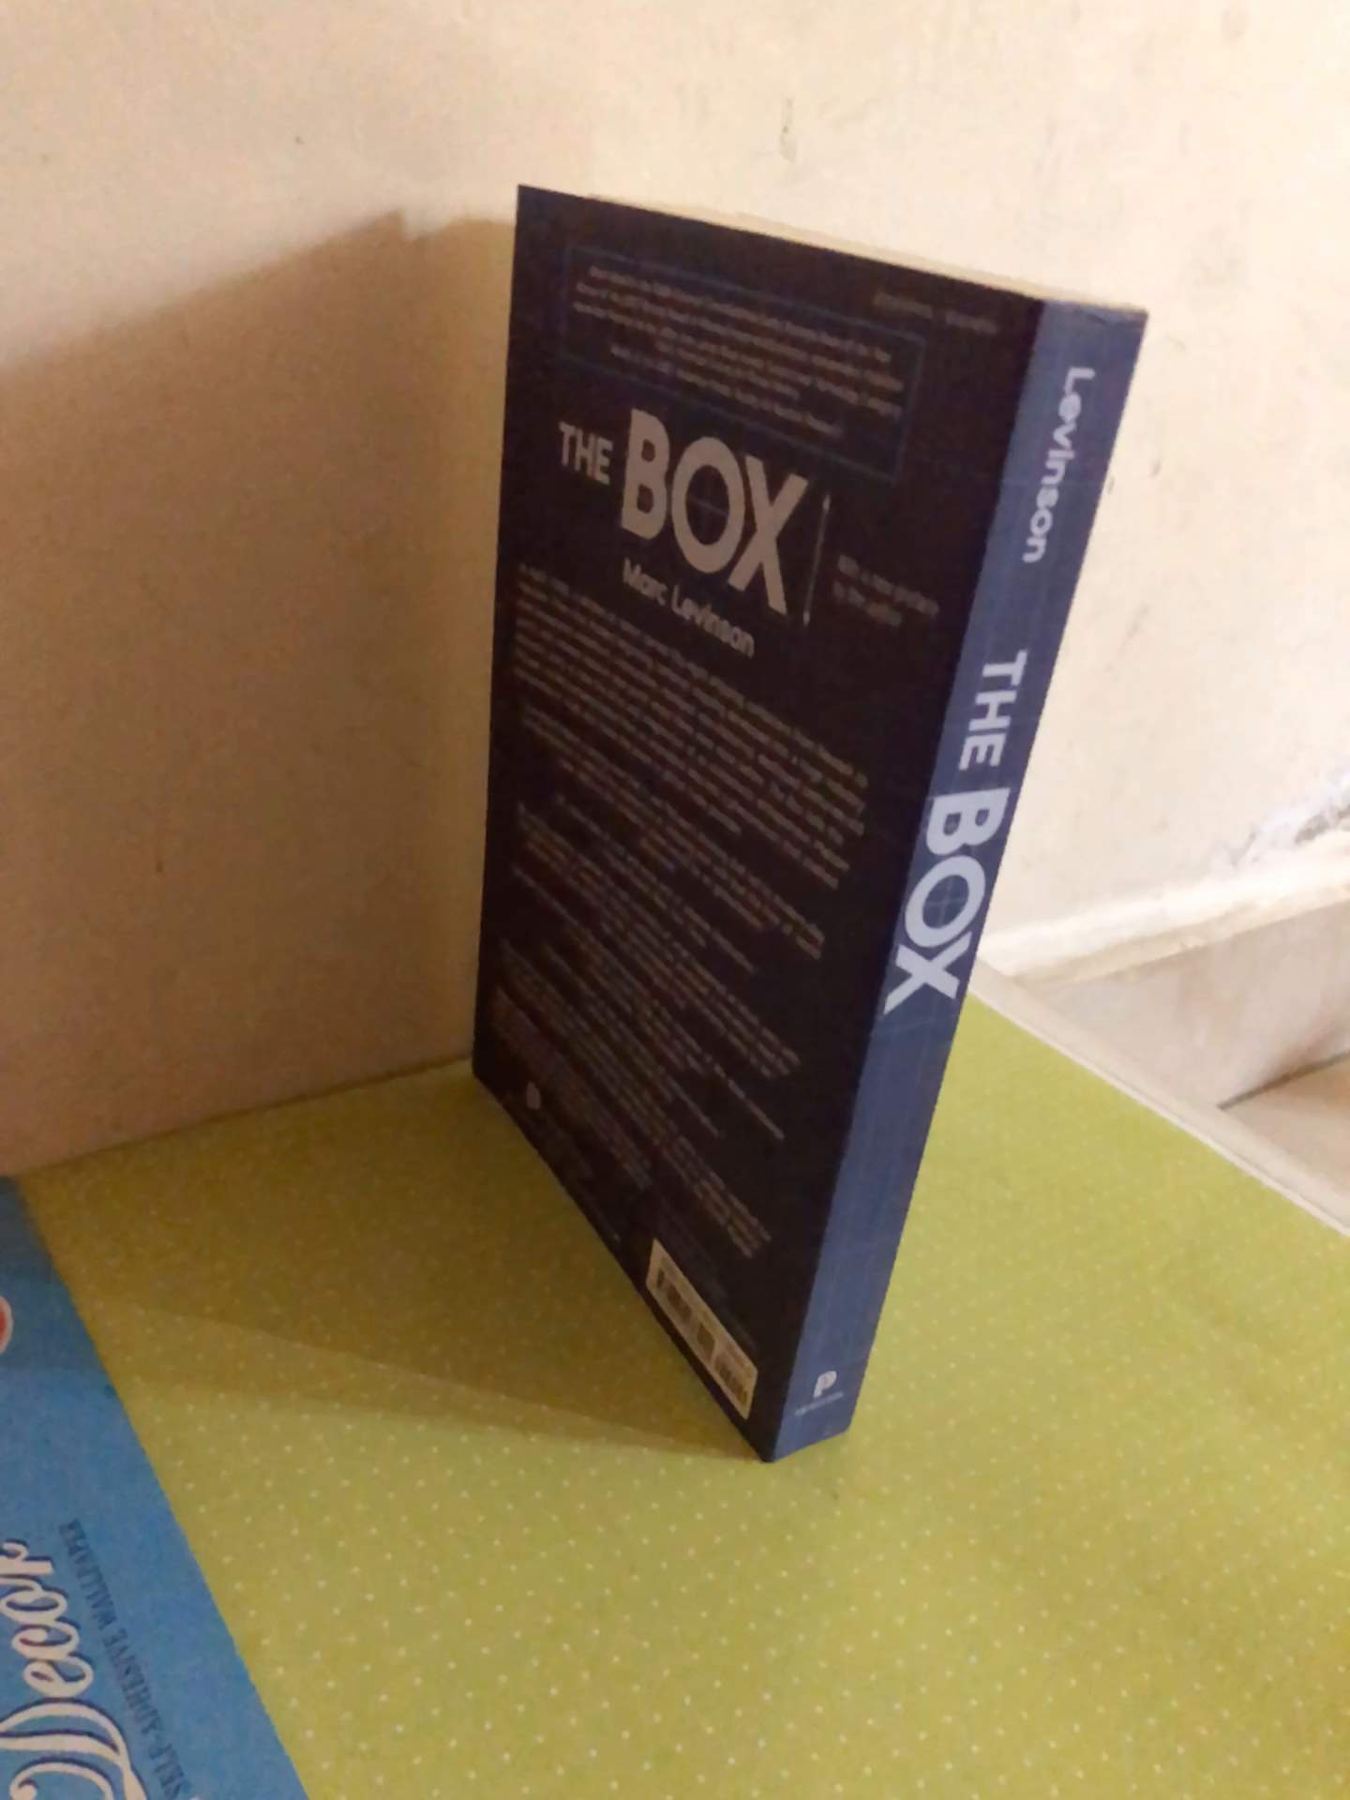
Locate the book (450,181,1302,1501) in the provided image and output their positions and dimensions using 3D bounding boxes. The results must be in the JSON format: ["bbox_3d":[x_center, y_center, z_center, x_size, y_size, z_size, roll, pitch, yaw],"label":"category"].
[{"bbox_3d":[0.014,-0.025,0.322,0.050,0.219,0.181,-7,28,-28],"label":"book"}]
